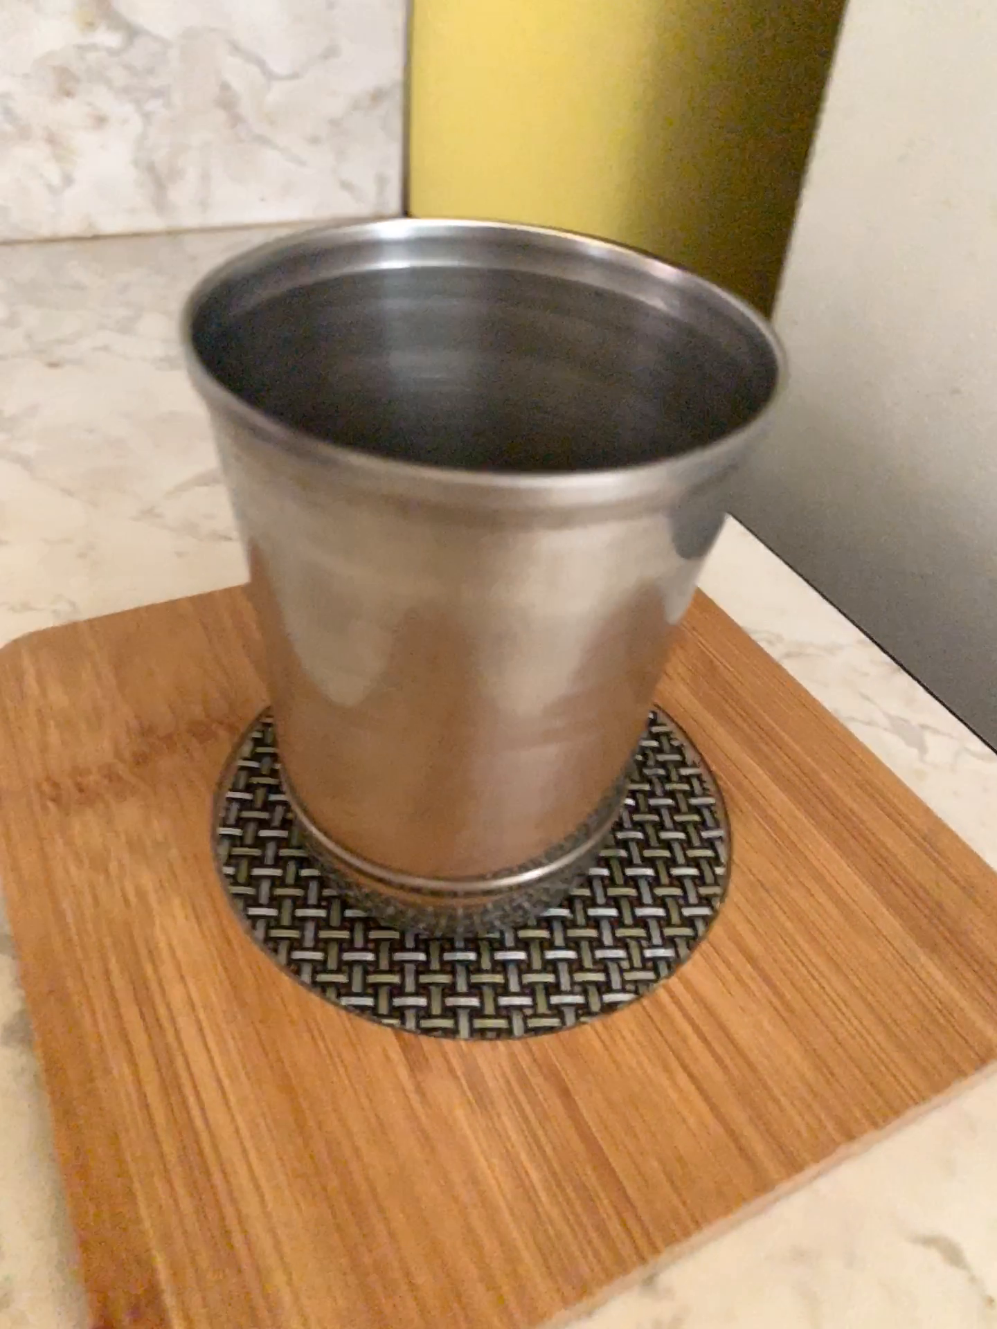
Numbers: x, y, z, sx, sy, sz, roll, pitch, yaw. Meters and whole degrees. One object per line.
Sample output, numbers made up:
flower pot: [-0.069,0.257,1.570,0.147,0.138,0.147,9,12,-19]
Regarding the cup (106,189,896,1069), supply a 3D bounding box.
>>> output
cup: [-0.007,-0.009,0.153,0.071,0.091,0.073,2,40,-2]
